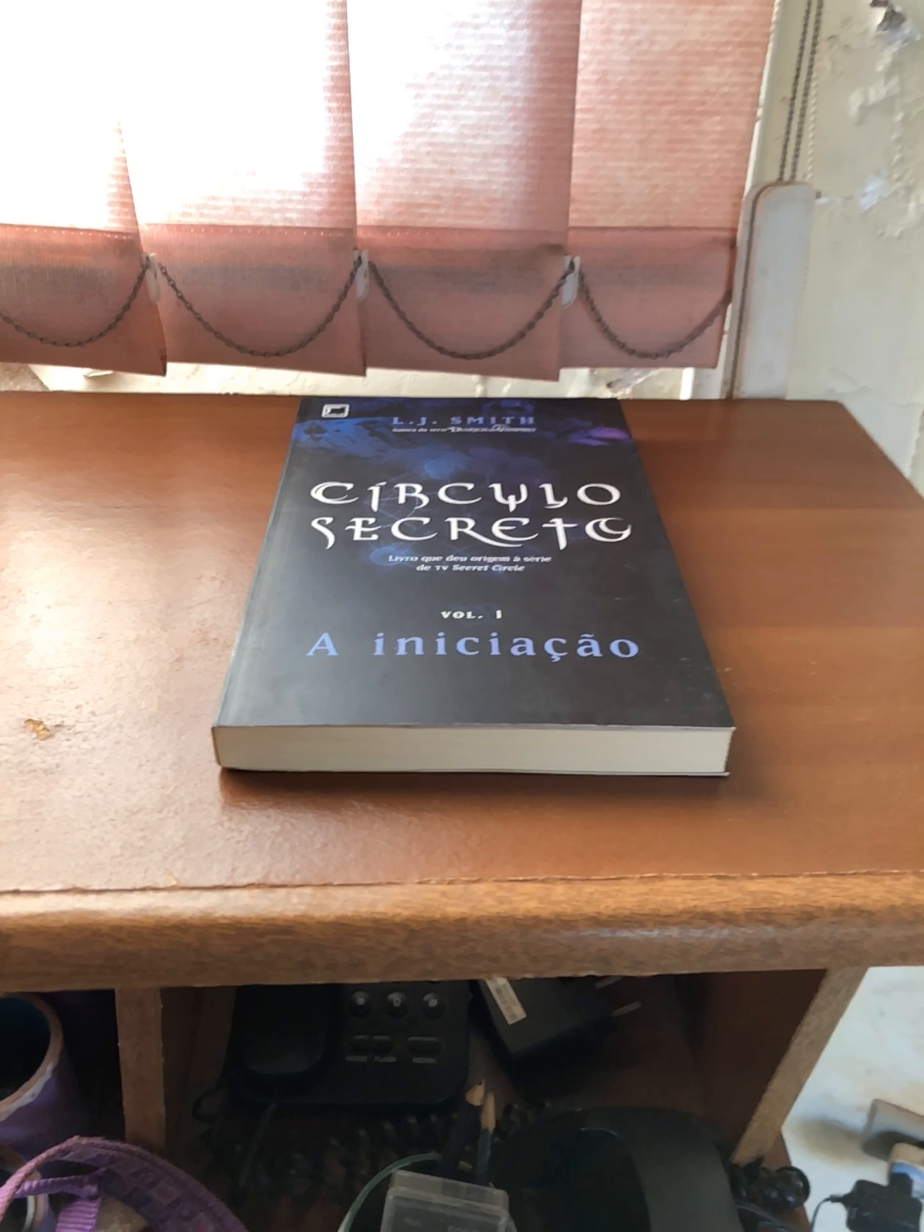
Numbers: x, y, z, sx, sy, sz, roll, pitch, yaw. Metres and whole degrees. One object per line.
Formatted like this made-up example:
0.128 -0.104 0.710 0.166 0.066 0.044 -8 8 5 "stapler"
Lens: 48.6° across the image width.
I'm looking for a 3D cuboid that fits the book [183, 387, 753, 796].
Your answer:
-0.002 -0.024 0.346 0.140 0.024 0.215 1 34 -3 "book"
